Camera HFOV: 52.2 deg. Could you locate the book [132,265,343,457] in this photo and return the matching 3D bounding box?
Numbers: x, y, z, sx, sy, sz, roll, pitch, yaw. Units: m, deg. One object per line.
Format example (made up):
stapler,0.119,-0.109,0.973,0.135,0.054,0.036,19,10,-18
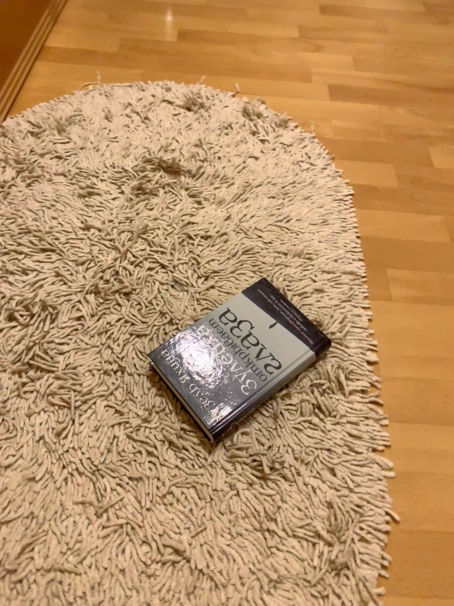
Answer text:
book,0.015,0.062,0.594,0.221,0.040,0.151,-33,64,-25
